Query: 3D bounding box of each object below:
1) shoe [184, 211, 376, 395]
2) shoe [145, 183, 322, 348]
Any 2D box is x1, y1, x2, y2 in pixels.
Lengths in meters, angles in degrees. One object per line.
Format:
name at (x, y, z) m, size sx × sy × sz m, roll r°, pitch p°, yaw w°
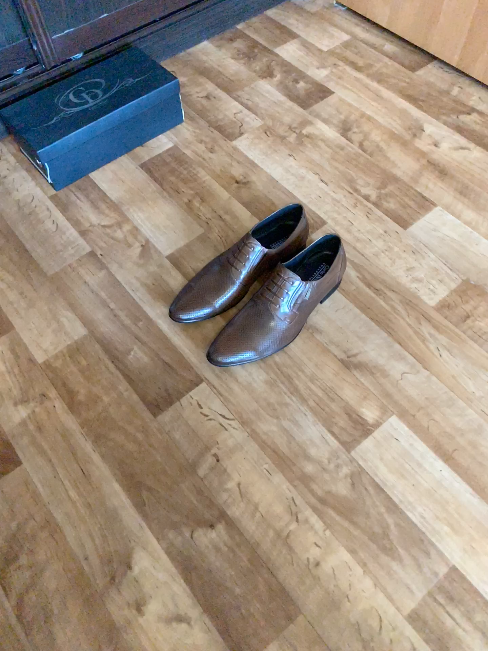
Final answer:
shoe at (0.063, -0.042, 0.818) m, size 0.310 × 0.100 × 0.110 m, roll -39°, pitch 66°, yaw -19°
shoe at (-0.011, -0.108, 0.883) m, size 0.300 × 0.120 × 0.100 m, roll -36°, pitch 65°, yaw -17°
